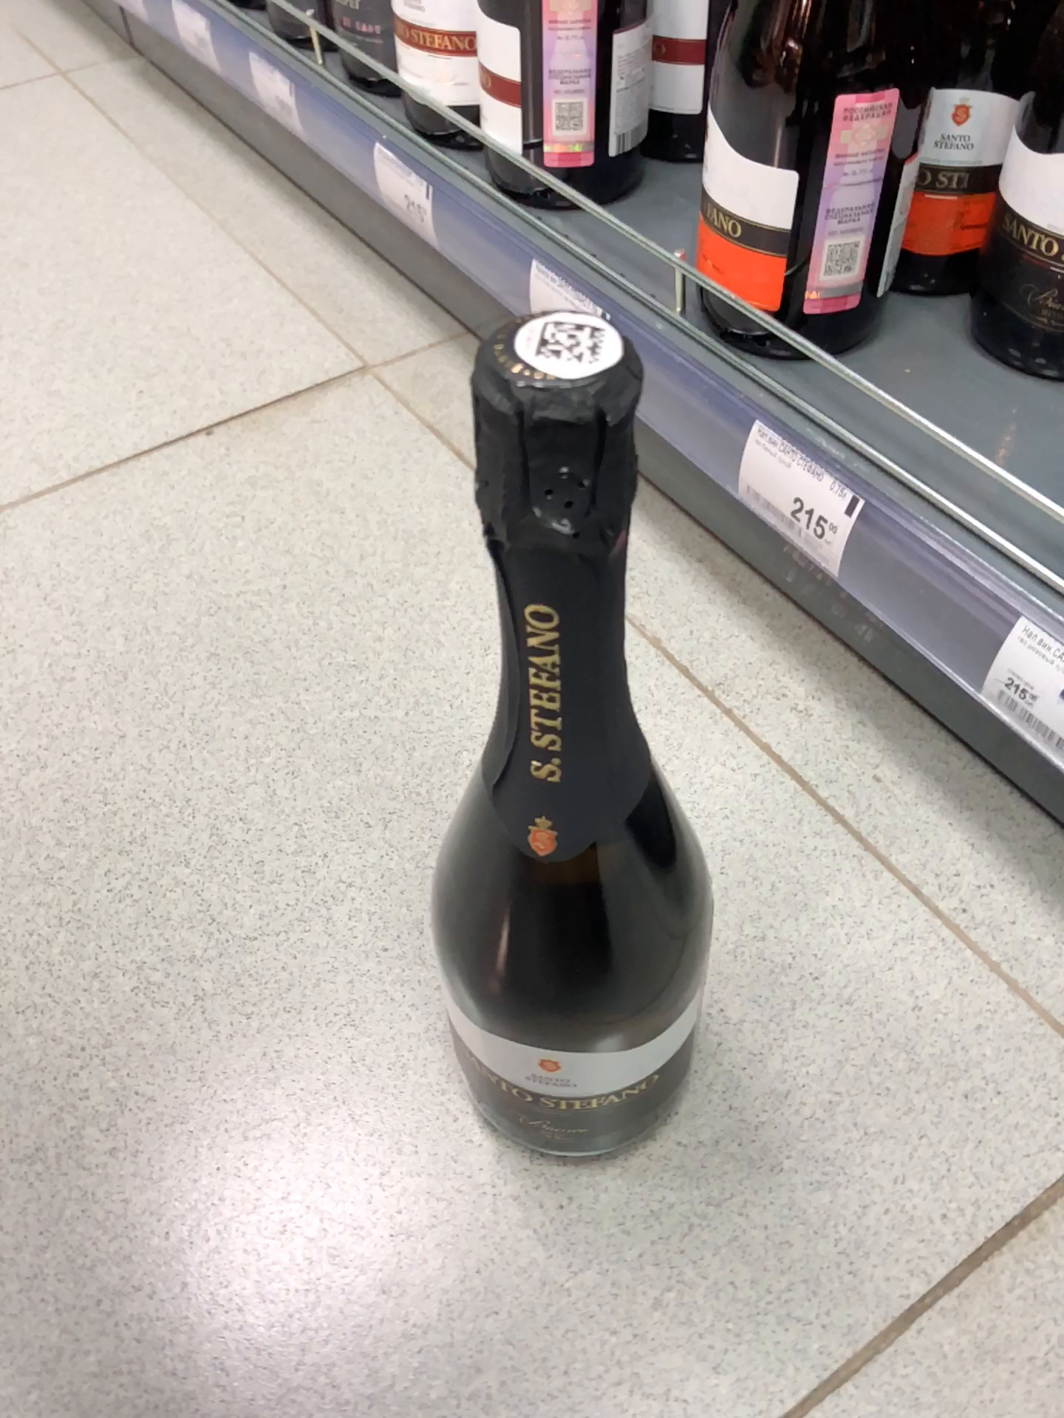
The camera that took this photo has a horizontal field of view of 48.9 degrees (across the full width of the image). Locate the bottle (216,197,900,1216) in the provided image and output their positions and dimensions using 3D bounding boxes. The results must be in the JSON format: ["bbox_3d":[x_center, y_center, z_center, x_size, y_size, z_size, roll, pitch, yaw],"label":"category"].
[{"bbox_3d":[0.017,0.029,0.335,0.110,0.299,0.100,-1,48,2],"label":"bottle"}]
